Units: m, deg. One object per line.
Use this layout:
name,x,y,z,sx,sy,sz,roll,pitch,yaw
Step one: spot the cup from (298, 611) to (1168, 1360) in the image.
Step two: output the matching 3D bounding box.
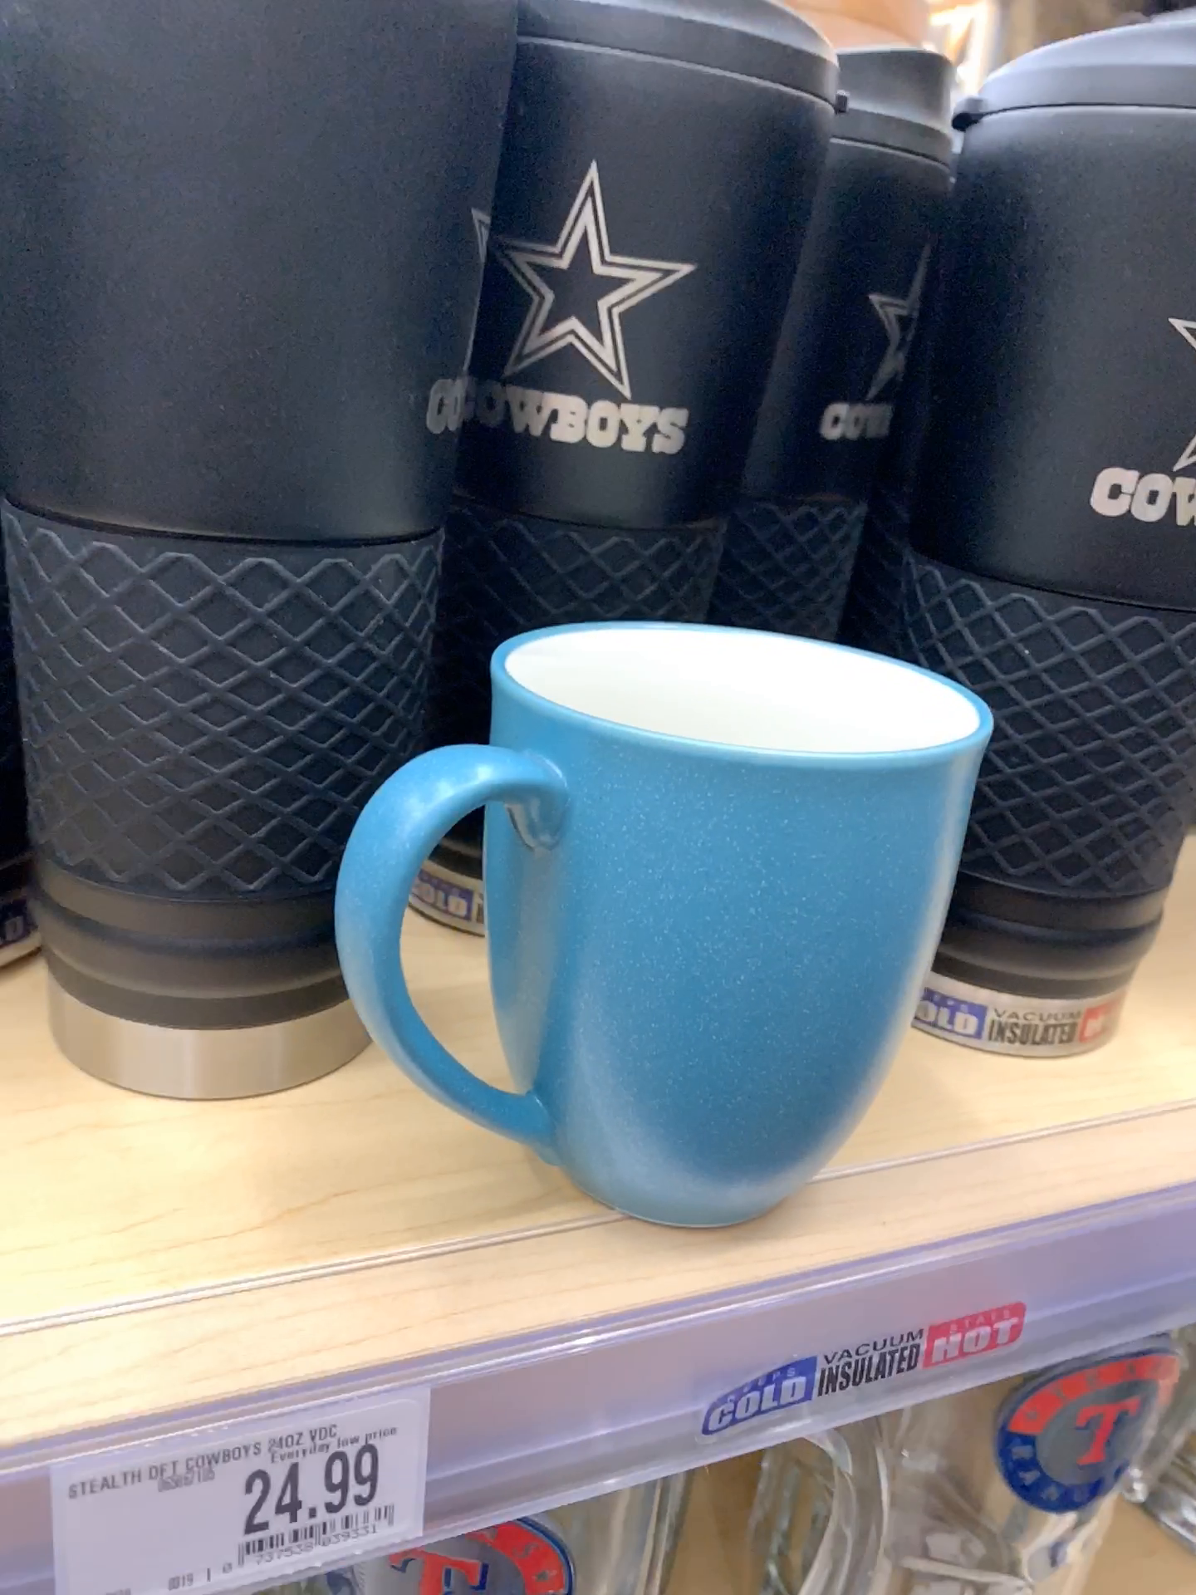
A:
cup,0.017,0.019,0.227,0.116,0.084,0.090,-6,24,-31
